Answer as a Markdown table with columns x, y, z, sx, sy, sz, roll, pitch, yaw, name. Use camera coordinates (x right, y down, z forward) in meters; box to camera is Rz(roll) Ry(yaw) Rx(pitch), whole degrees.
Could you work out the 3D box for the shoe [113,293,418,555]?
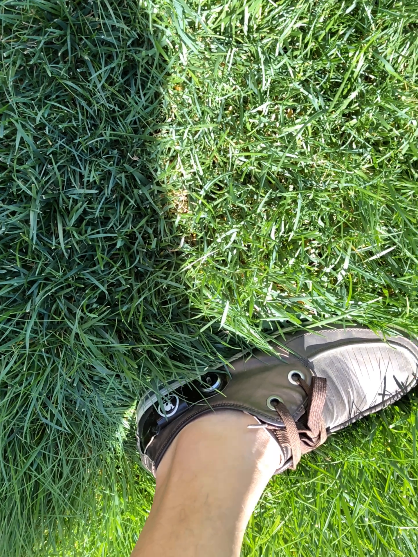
| x | y | z | sx | sy | sz | roll | pitch | yaw | name |
| --- | --- | --- | --- | --- | --- | --- | --- | --- | --- |
| 0.074 | 0.119 | 0.404 | 0.280 | 0.093 | 0.112 | -17 | 106 | 0 | shoe |
